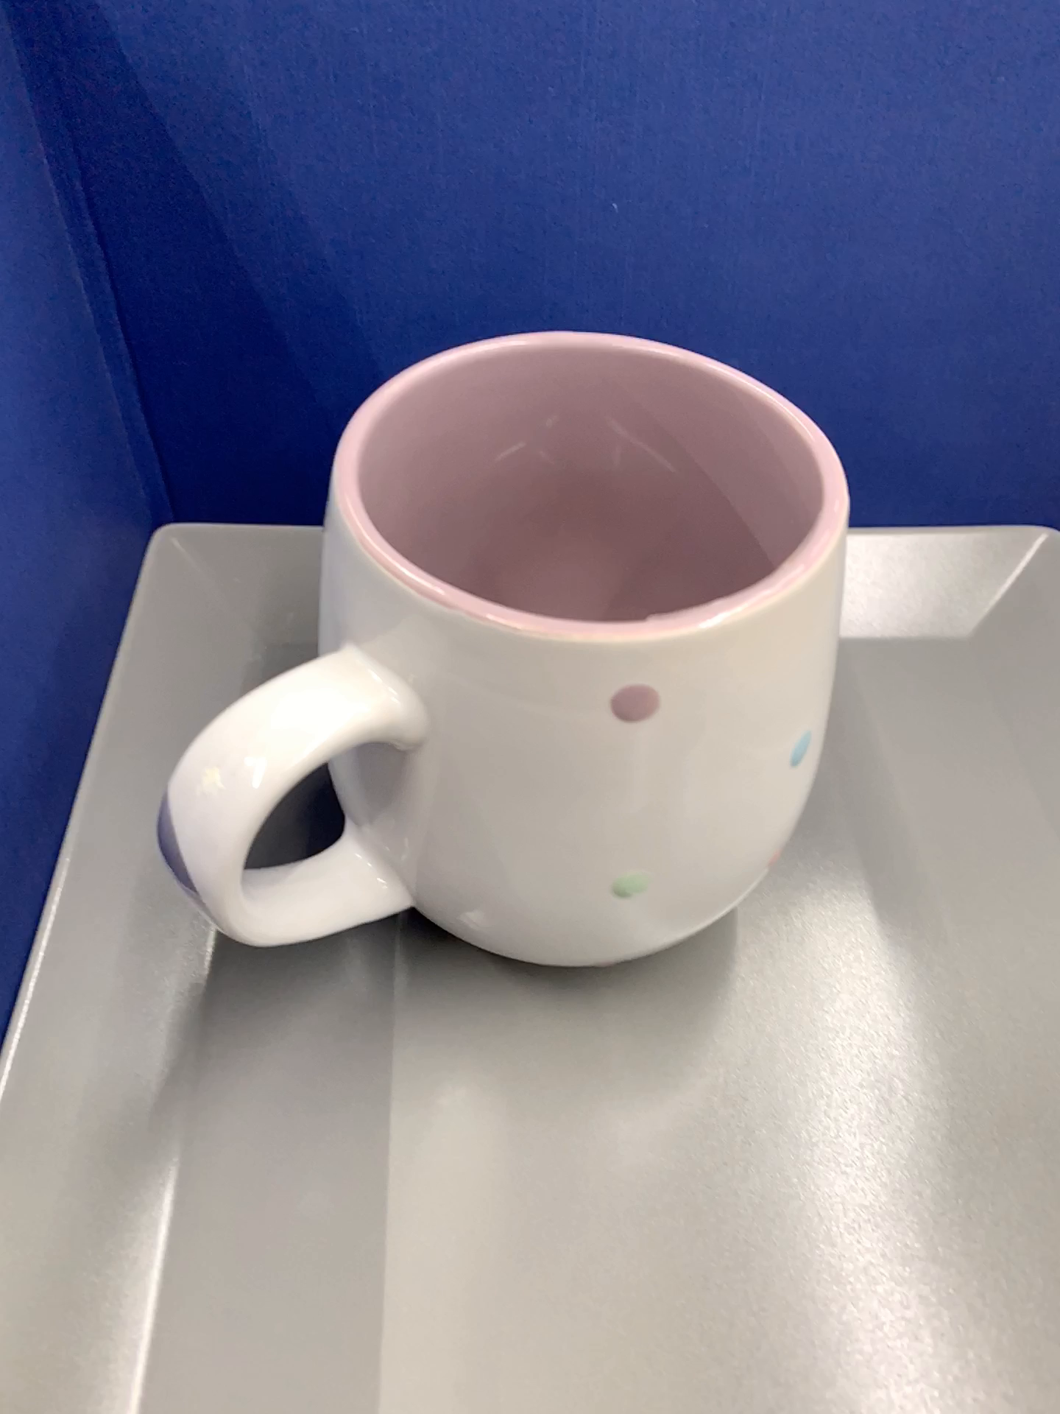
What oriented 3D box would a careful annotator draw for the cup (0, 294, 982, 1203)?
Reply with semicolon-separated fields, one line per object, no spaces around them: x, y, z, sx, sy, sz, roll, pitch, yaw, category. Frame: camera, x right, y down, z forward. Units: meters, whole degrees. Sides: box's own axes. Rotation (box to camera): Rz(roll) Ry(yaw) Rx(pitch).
-0.006;-0.003;0.212;0.130;0.088;0.097;-29;52;-27;cup
